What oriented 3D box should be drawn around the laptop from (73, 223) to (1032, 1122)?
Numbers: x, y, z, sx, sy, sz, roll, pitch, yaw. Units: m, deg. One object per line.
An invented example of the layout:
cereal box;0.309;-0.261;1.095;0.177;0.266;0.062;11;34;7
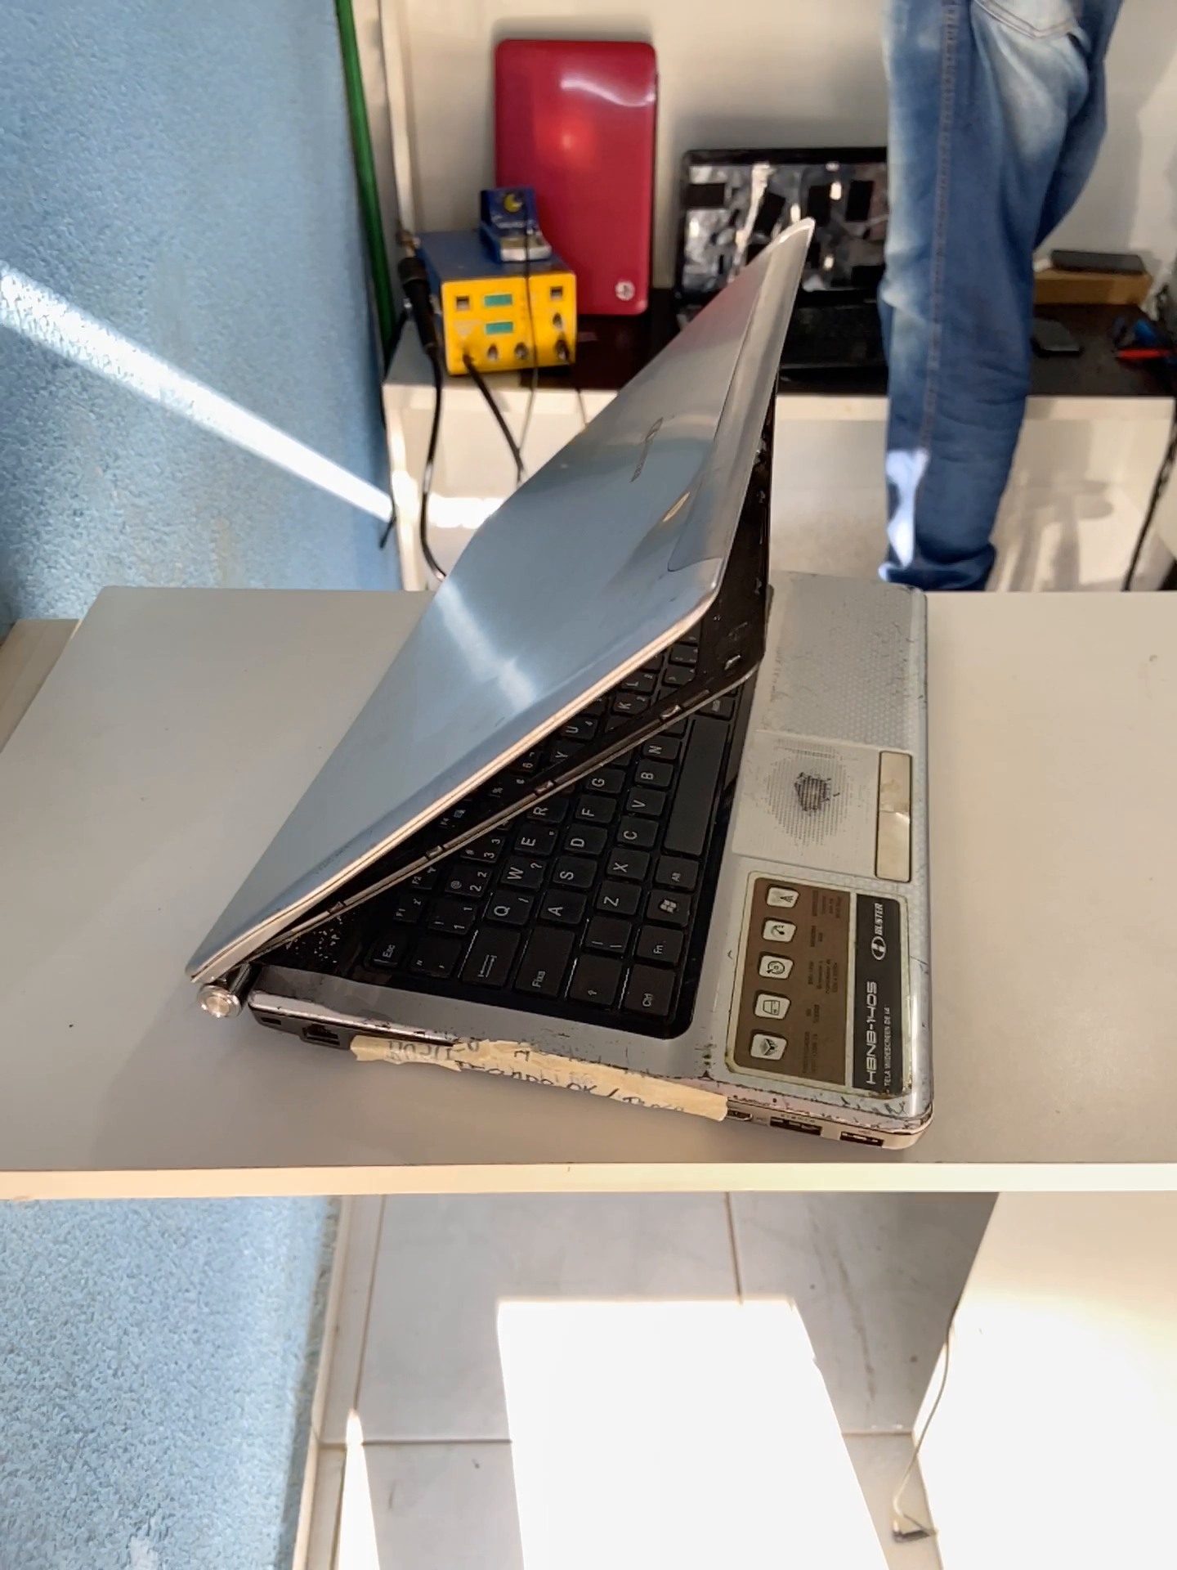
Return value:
laptop;0.020;-0.078;0.460;0.232;0.160;0.328;8;39;9
